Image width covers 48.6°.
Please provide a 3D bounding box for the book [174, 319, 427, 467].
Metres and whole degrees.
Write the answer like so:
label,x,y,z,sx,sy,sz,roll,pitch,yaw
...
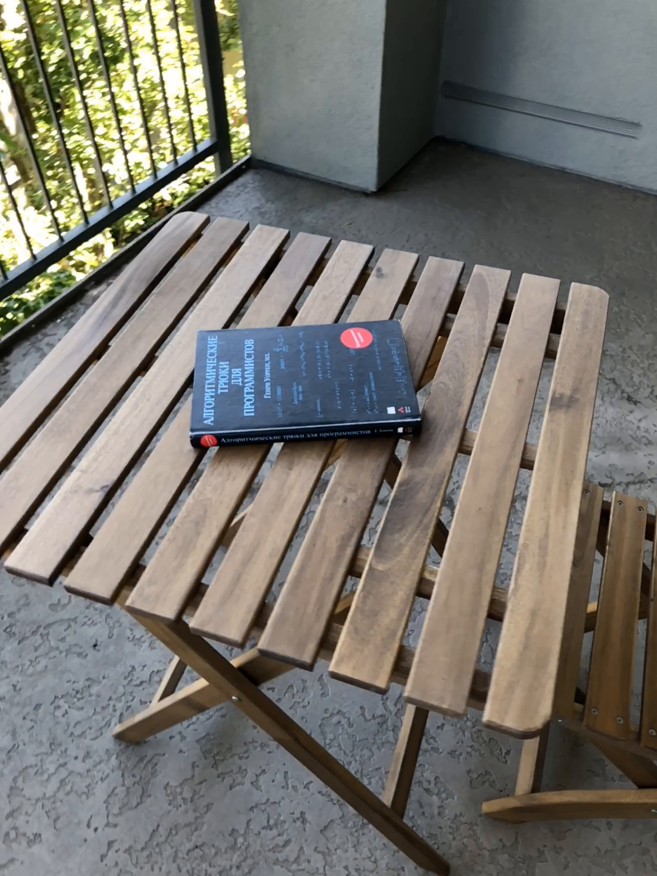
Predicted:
label,x,y,z,sx,sy,sz,roll,pitch,yaw
book,-0.033,-0.055,0.791,0.250,0.030,0.181,-3,48,-3
